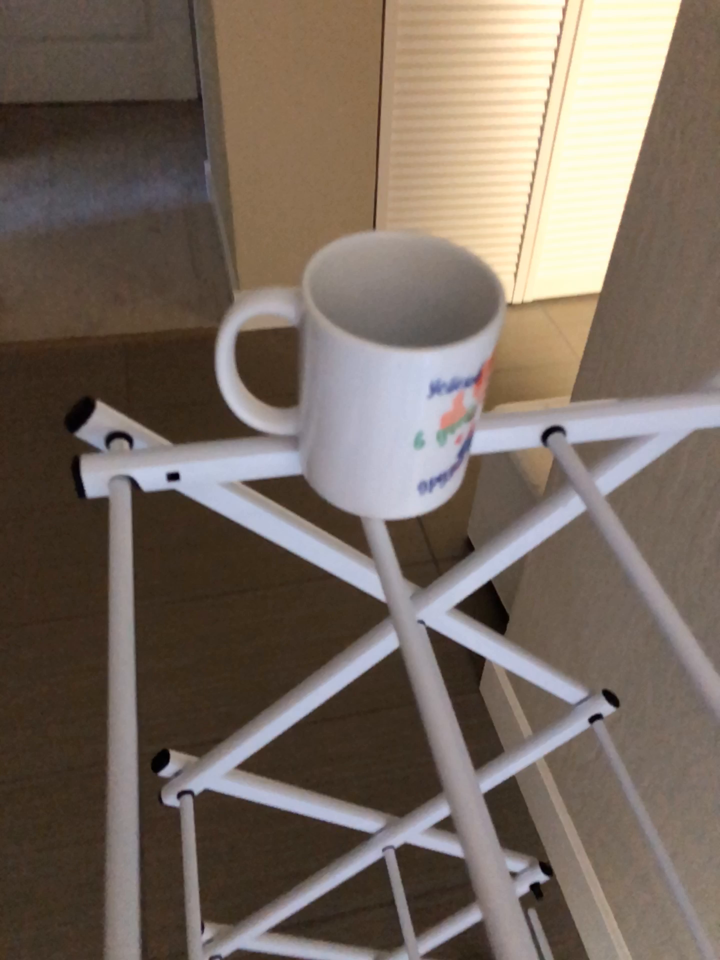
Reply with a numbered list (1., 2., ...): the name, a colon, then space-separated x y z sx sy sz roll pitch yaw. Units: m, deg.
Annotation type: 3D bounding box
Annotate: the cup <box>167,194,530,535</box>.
1. cup: -0.002 -0.050 0.345 0.130 0.090 0.090 10 47 2
